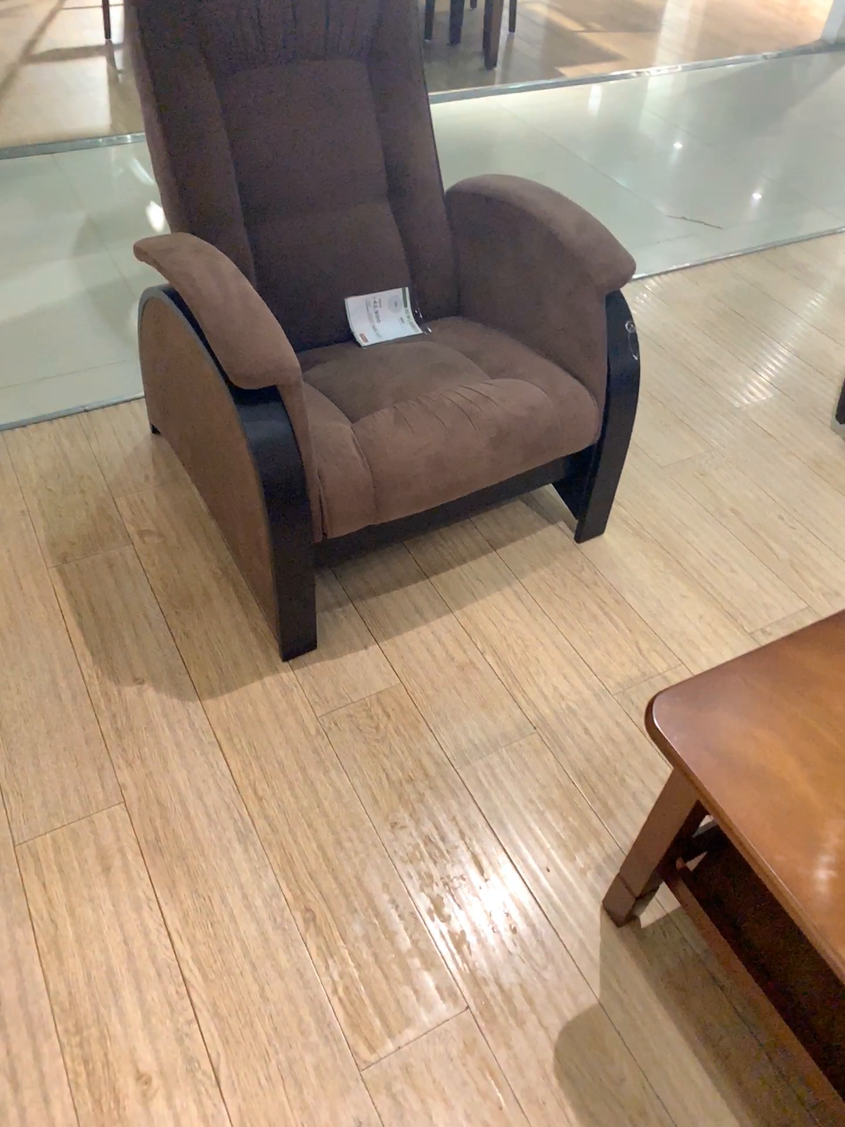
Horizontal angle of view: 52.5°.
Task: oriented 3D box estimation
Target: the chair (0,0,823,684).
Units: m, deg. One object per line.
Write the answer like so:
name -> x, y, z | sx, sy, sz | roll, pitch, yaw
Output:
chair -> -0.112, -0.562, 1.548 | 0.801, 0.886, 1.003 | -21, 52, -23
